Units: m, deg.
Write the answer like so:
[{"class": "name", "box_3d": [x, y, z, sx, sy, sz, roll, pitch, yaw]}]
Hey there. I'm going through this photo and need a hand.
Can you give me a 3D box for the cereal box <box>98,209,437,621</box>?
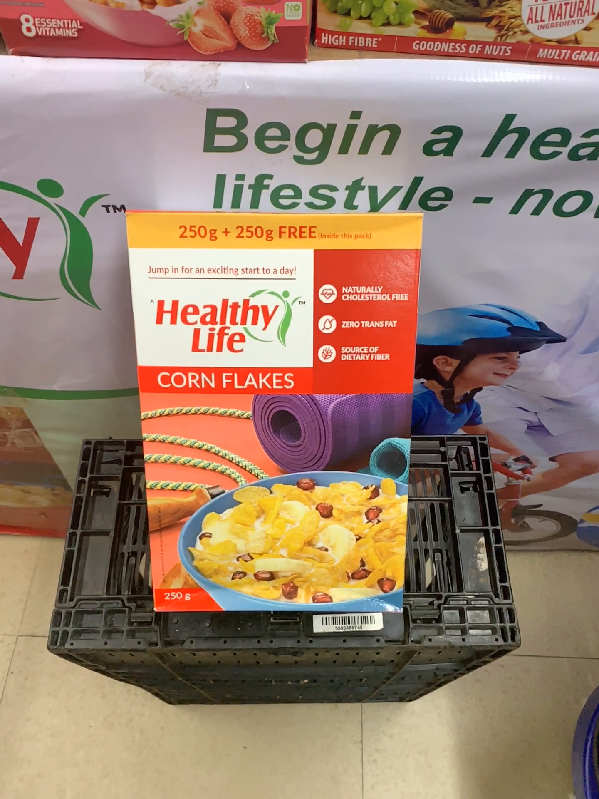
[{"class": "cereal box", "box_3d": [-0.020, 0.011, 0.444, 0.200, 0.280, 0.090, 0, 16, 0]}]
